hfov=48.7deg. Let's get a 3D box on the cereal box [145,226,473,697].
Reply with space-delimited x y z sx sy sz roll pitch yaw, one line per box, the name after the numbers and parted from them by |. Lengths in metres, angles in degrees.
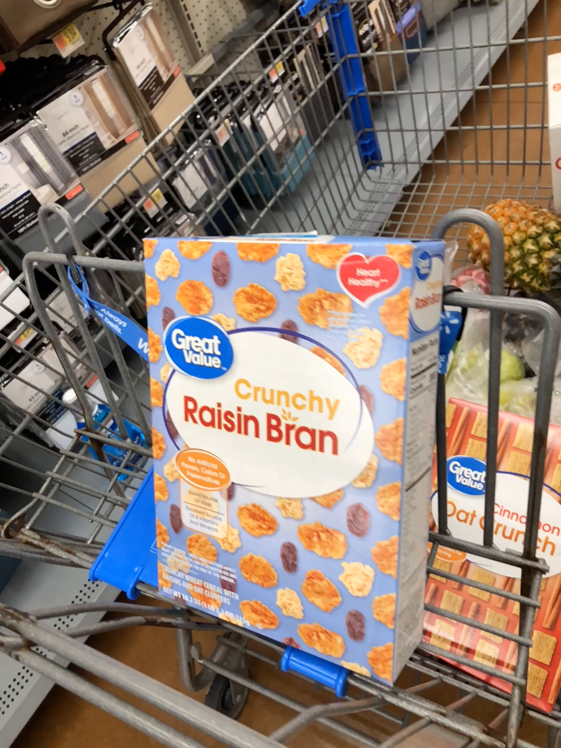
0.010 0.043 0.429 0.201 0.280 0.070 8 14 28 | cereal box
